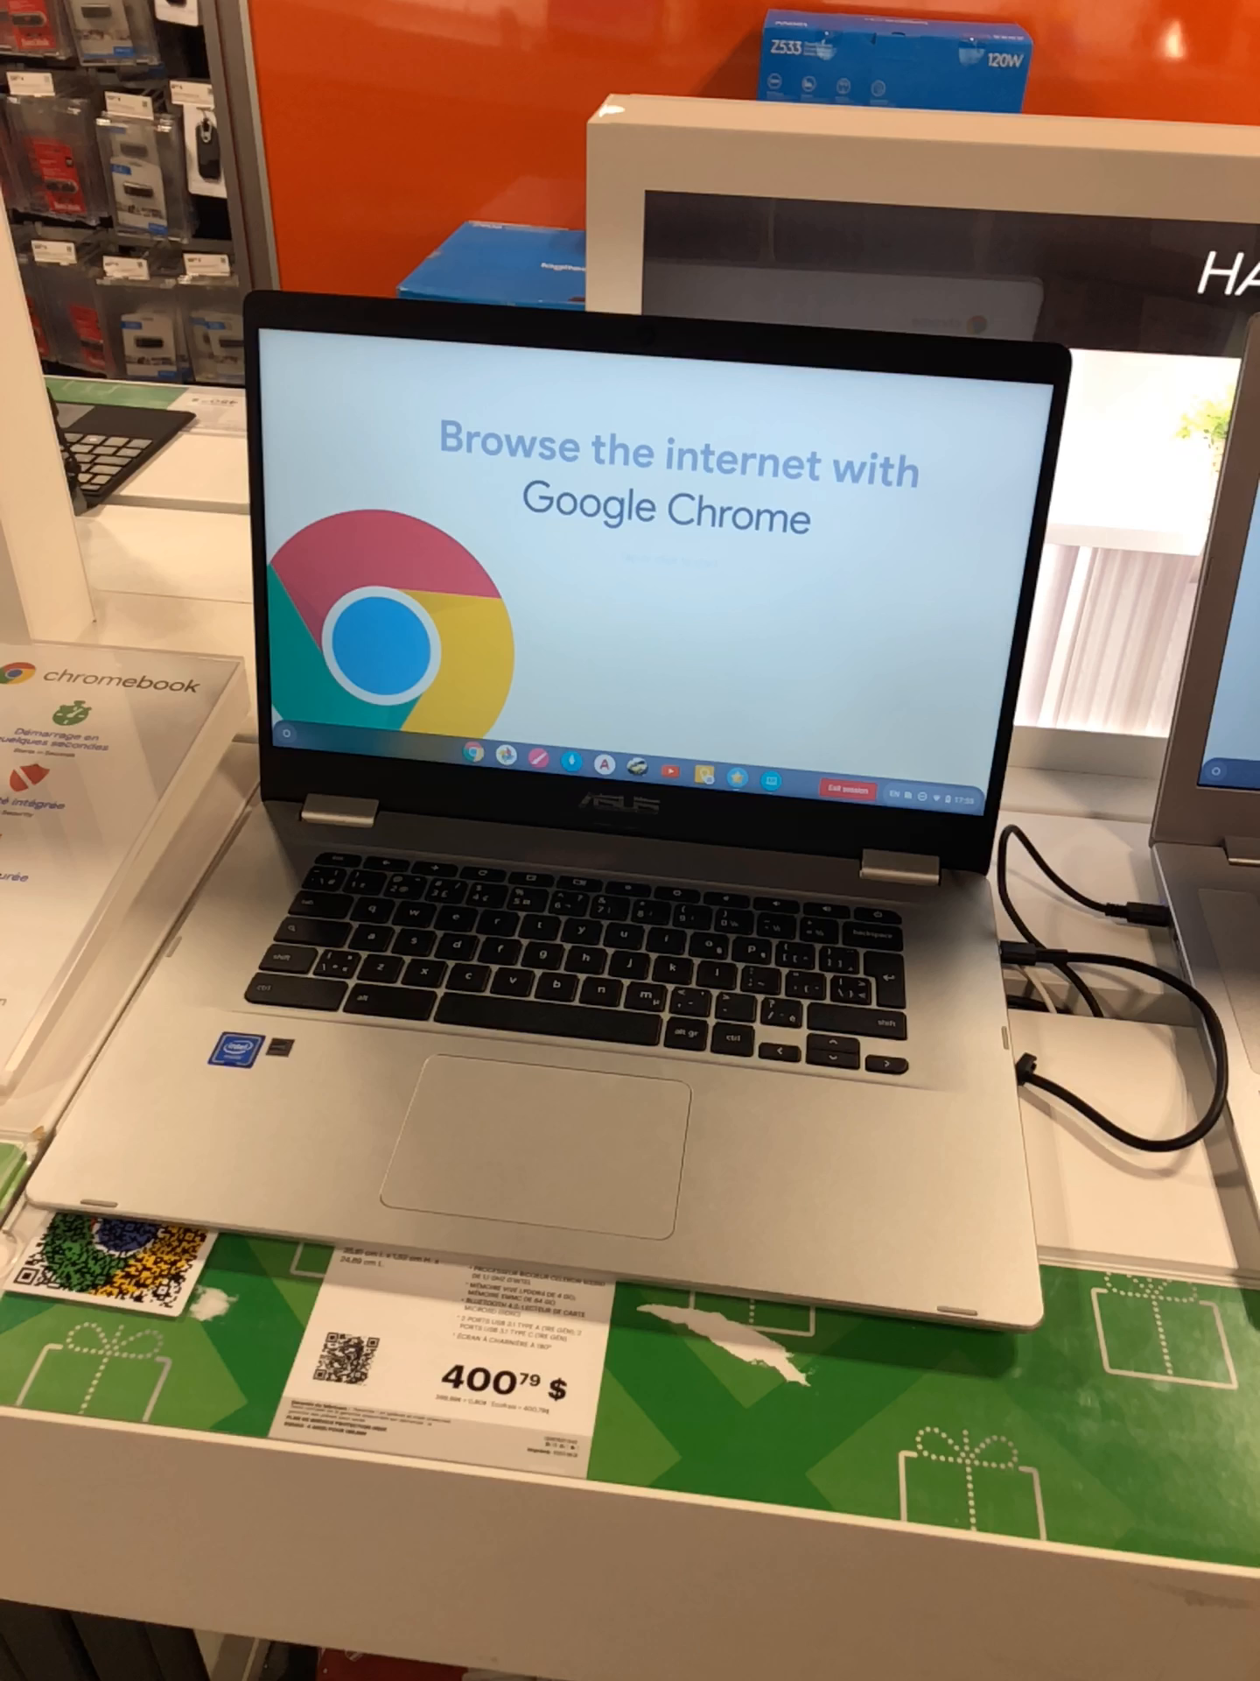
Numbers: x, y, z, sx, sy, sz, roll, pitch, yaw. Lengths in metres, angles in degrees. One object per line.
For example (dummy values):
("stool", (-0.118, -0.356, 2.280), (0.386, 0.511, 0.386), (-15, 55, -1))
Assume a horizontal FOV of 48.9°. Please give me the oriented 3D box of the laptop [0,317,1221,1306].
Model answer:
("laptop", (-0.012, -0.034, 0.515), (0.337, 0.225, 0.287), (5, 36, 6))
